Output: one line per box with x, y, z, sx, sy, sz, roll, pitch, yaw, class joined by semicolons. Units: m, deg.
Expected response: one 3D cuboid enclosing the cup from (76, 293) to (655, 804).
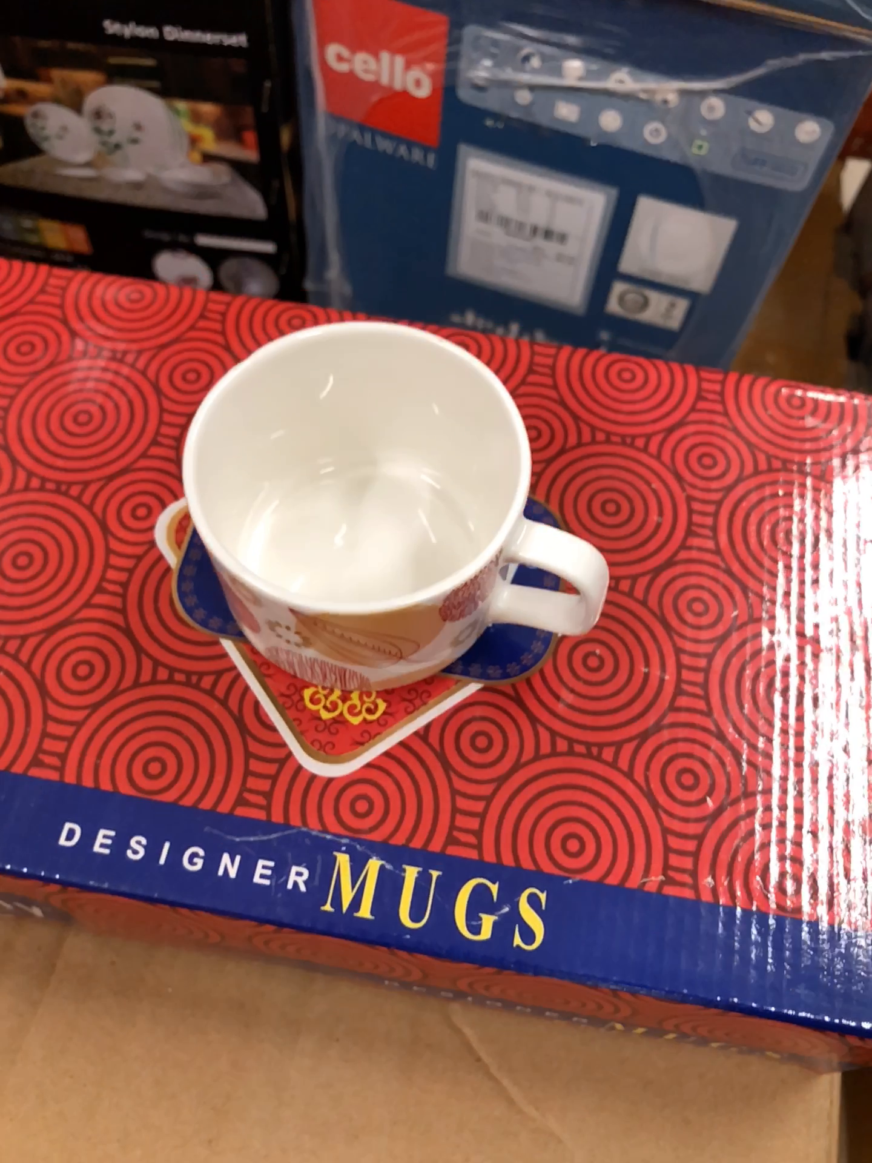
-0.011;-0.006;0.202;0.090;0.050;0.070;15;62;4;cup
